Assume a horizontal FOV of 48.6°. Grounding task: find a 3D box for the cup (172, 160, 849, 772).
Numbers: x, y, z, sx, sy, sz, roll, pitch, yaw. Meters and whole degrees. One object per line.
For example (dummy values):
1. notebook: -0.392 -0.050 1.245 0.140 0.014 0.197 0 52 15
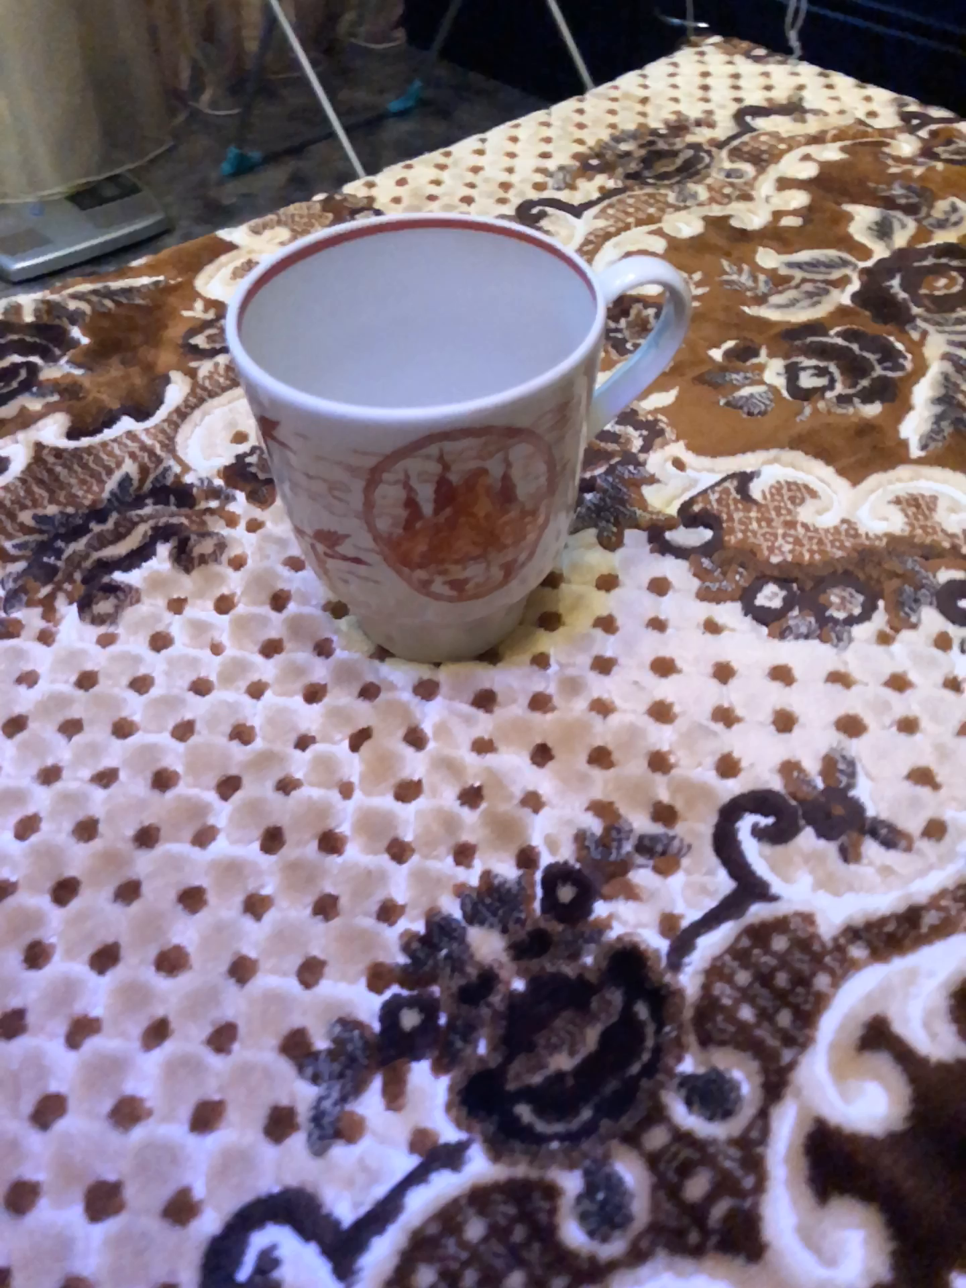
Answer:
1. cup: 0.003 -0.052 0.286 0.130 0.090 0.100 -19 49 -15
